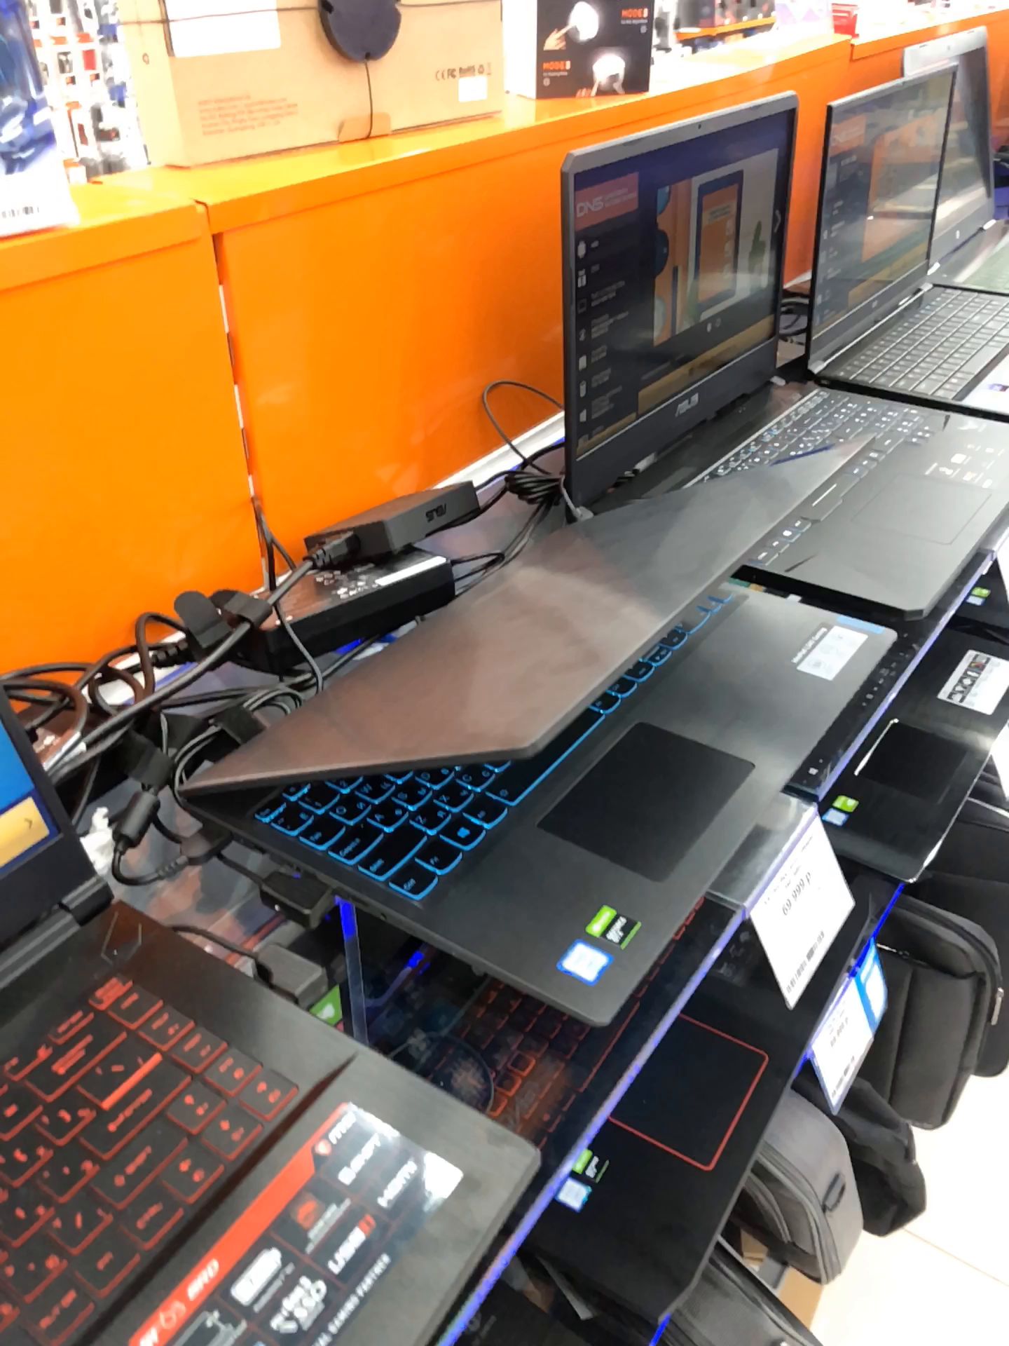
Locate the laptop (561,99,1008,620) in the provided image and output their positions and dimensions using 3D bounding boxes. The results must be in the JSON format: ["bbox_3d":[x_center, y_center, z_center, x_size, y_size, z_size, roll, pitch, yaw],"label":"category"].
[{"bbox_3d":[0.258,-0.271,0.846,0.277,0.250,0.385,20,38,30],"label":"laptop"}]

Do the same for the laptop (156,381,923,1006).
[{"bbox_3d":[0.040,-0.030,0.601,0.241,0.117,0.349,20,39,29],"label":"laptop"}]

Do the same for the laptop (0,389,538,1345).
[{"bbox_3d":[-0.225,0.107,0.274,0.325,0.228,0.349,18,36,28],"label":"laptop"}]
